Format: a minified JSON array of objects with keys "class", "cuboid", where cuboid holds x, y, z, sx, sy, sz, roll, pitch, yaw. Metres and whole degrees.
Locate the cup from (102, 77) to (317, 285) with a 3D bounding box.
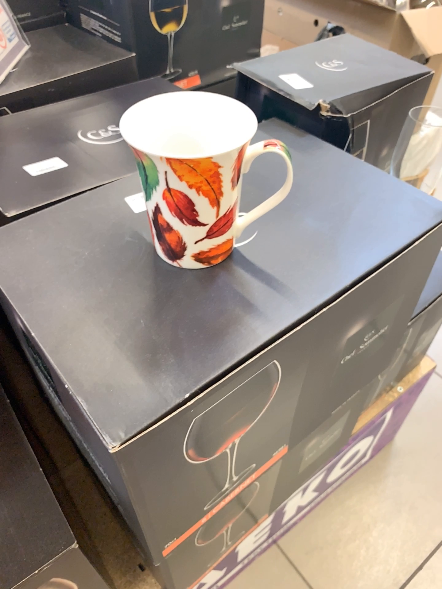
[{"class":"cup","cuboid":[-0.002,-0.081,0.325,0.120,0.100,0.090,7,46,7]}]
